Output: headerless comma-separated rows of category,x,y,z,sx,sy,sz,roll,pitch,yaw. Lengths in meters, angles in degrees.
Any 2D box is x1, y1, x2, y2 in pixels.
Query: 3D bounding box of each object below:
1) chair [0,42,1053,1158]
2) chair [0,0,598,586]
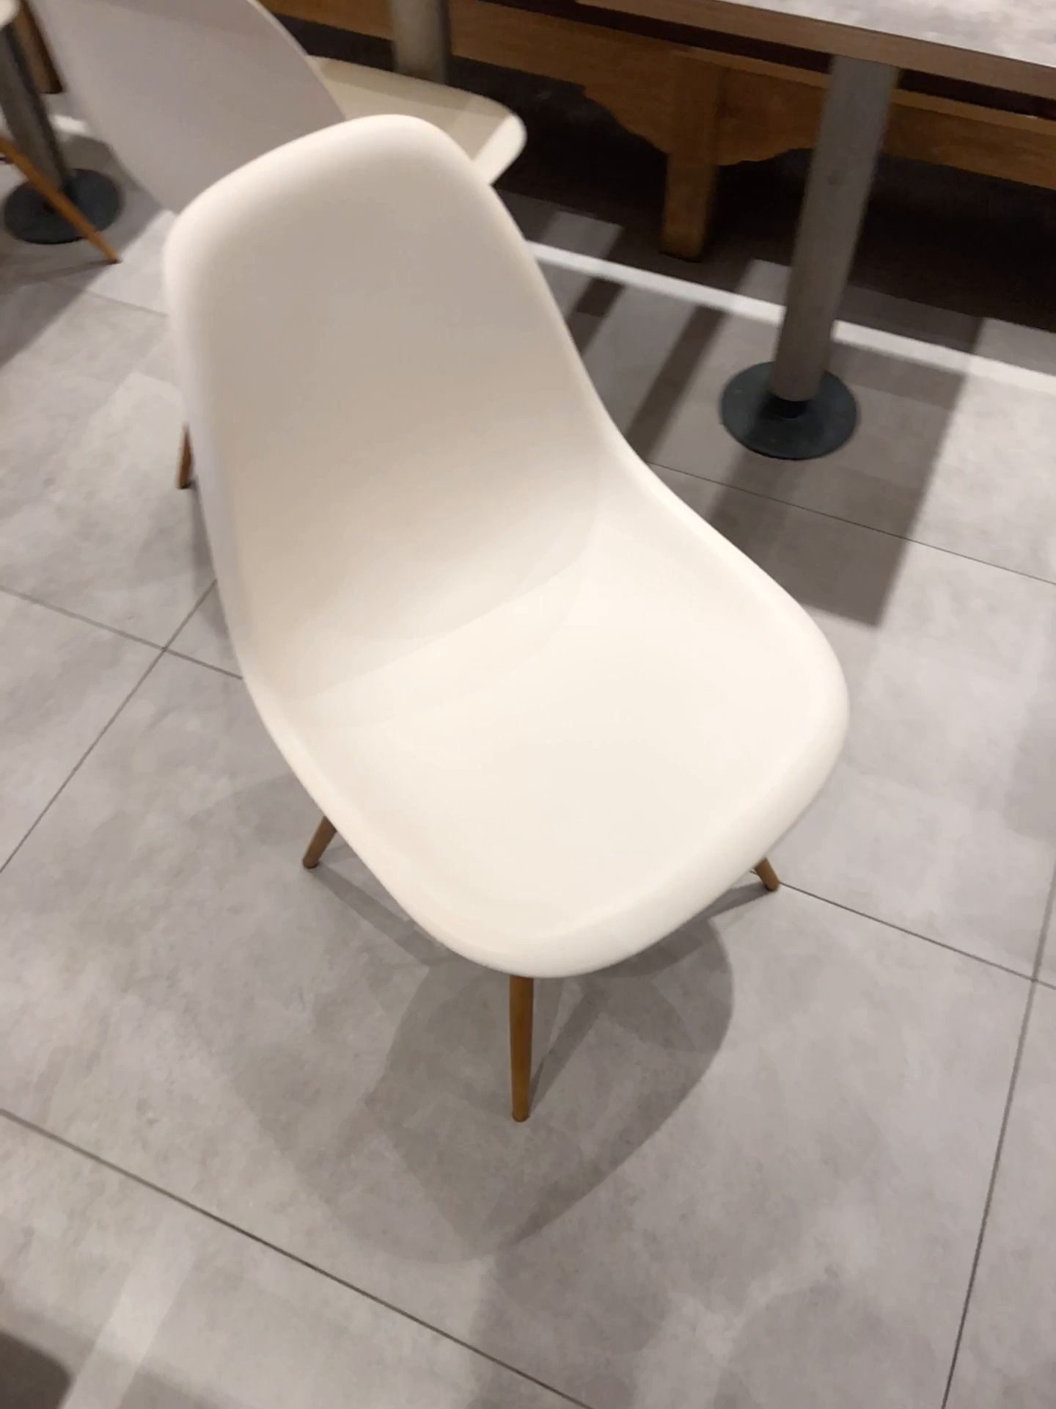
chair,-0.020,-0.036,1.090,0.472,0.780,0.553,-37,64,-20
chair,-0.278,-0.667,1.505,0.561,0.770,0.514,20,60,13
